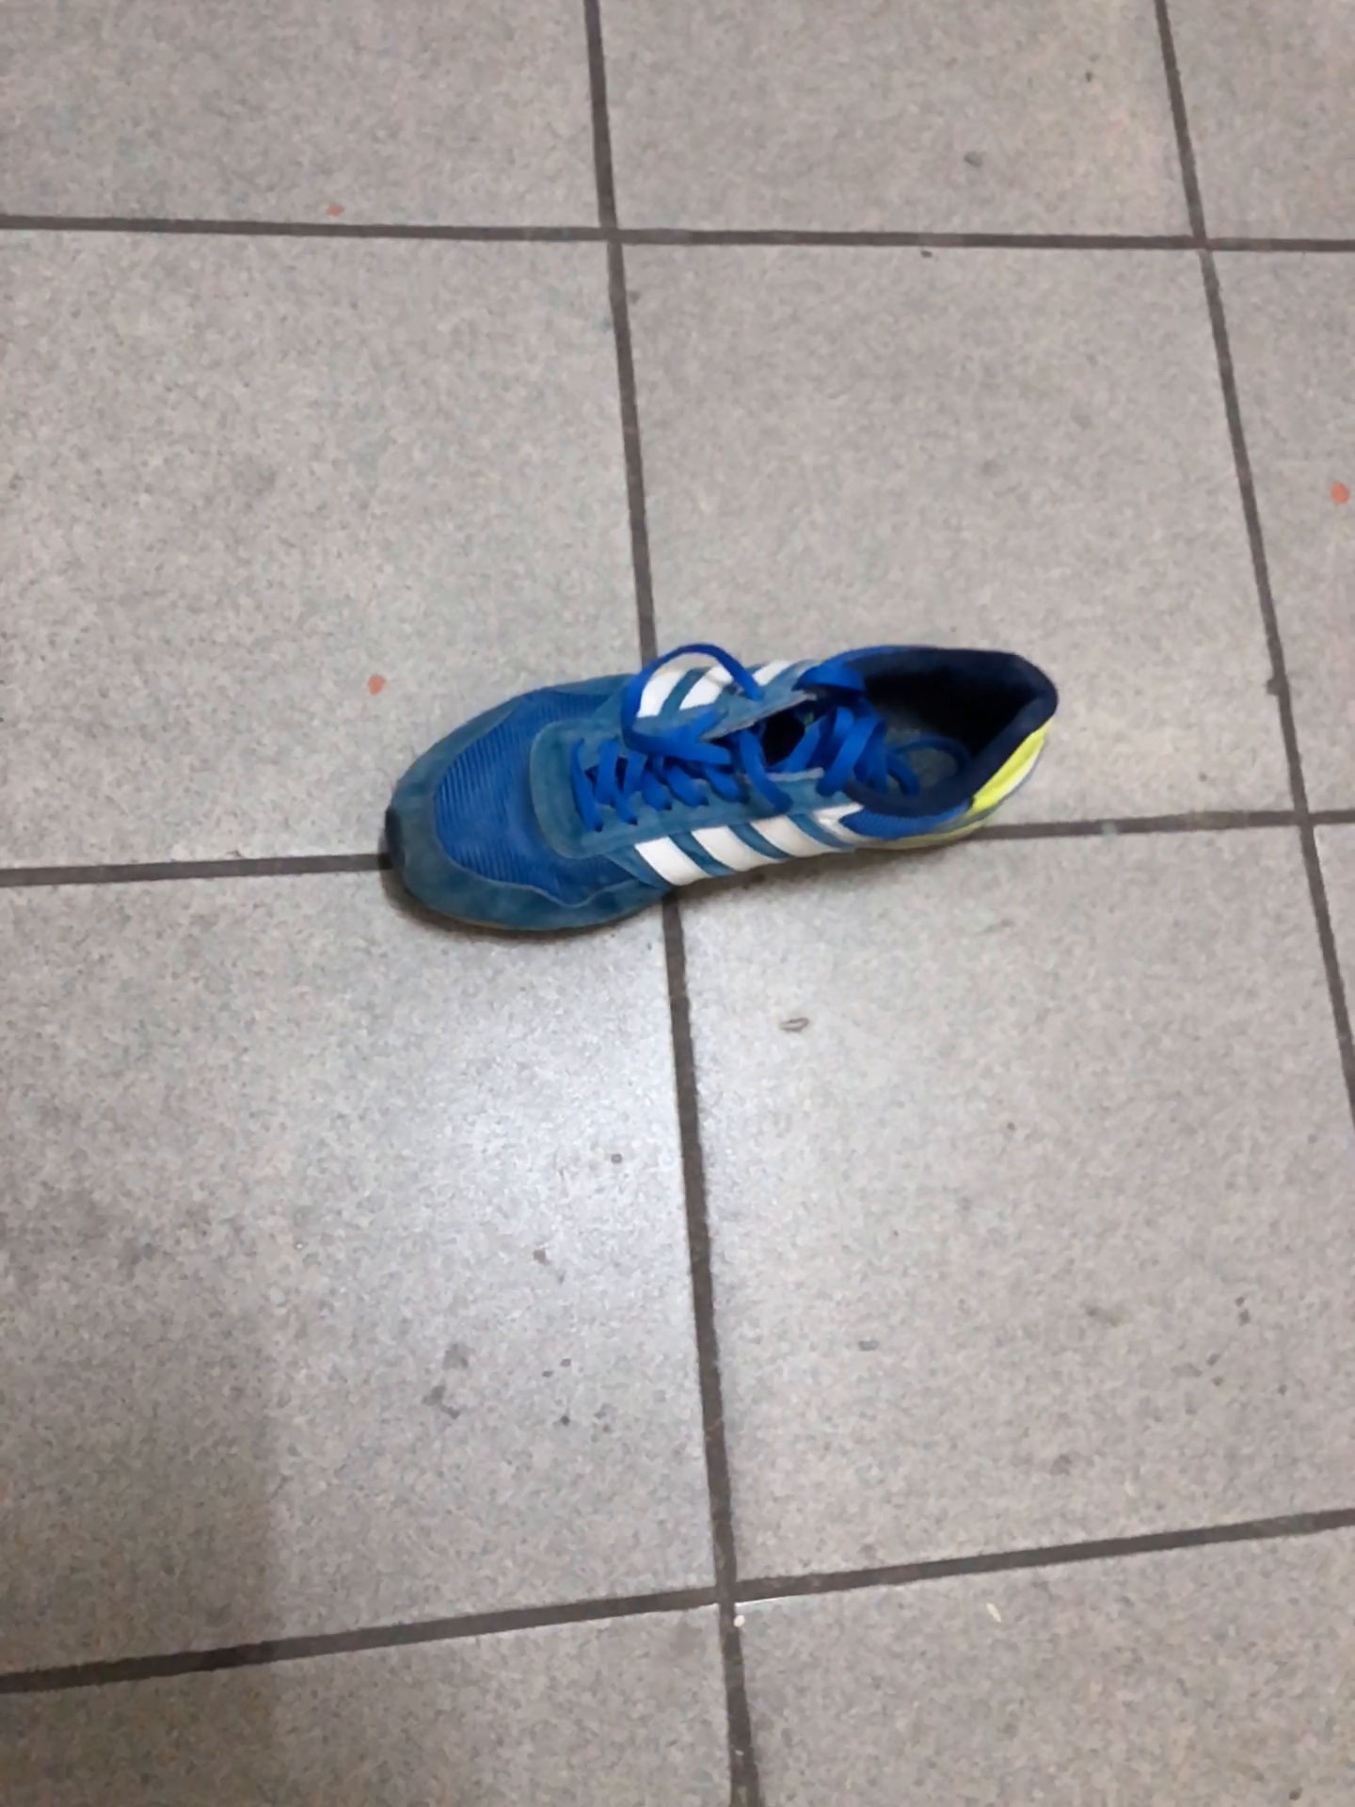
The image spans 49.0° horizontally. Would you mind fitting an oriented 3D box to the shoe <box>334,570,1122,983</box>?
[{"bbox_3d":[0.016,-0.051,0.621,0.292,0.100,0.110,-8,79,-10],"label":"shoe"}]
